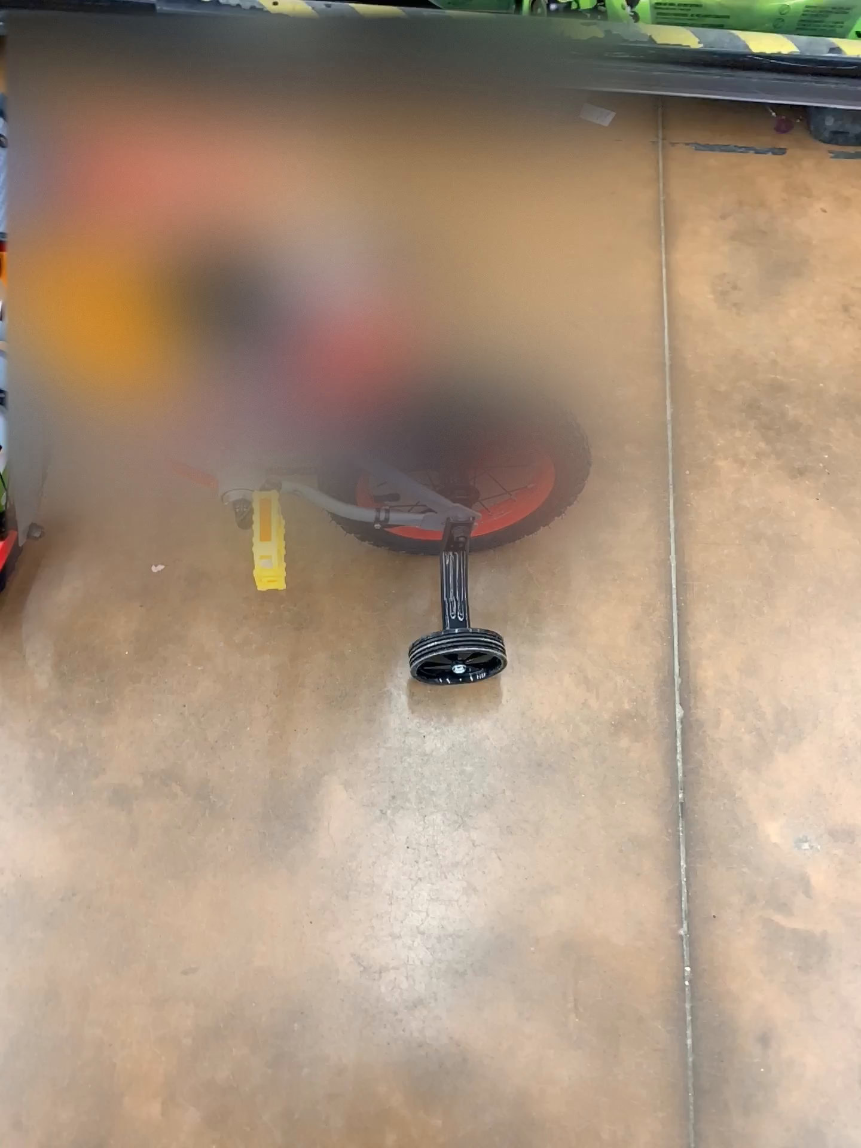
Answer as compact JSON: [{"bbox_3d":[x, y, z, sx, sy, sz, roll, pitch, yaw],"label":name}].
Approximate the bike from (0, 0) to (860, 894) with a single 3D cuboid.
[{"bbox_3d":[-0.170,-0.121,0.731,0.678,0.743,0.450,-15,62,-6],"label":"bike"}]
